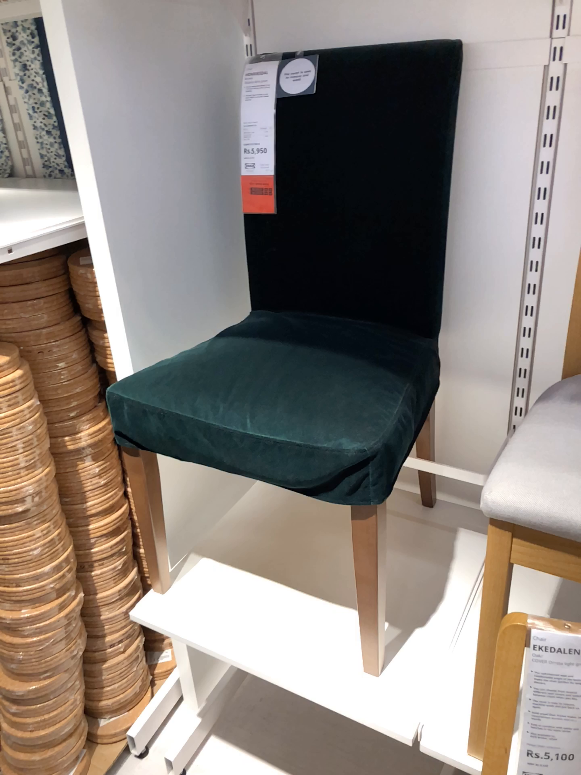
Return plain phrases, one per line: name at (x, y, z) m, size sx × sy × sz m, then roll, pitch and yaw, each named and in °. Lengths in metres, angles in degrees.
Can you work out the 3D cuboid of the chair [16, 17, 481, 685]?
chair at (0.004, -0.087, 1.111) m, size 0.471 × 0.914 × 0.512 m, roll 10°, pitch 29°, yaw 26°
